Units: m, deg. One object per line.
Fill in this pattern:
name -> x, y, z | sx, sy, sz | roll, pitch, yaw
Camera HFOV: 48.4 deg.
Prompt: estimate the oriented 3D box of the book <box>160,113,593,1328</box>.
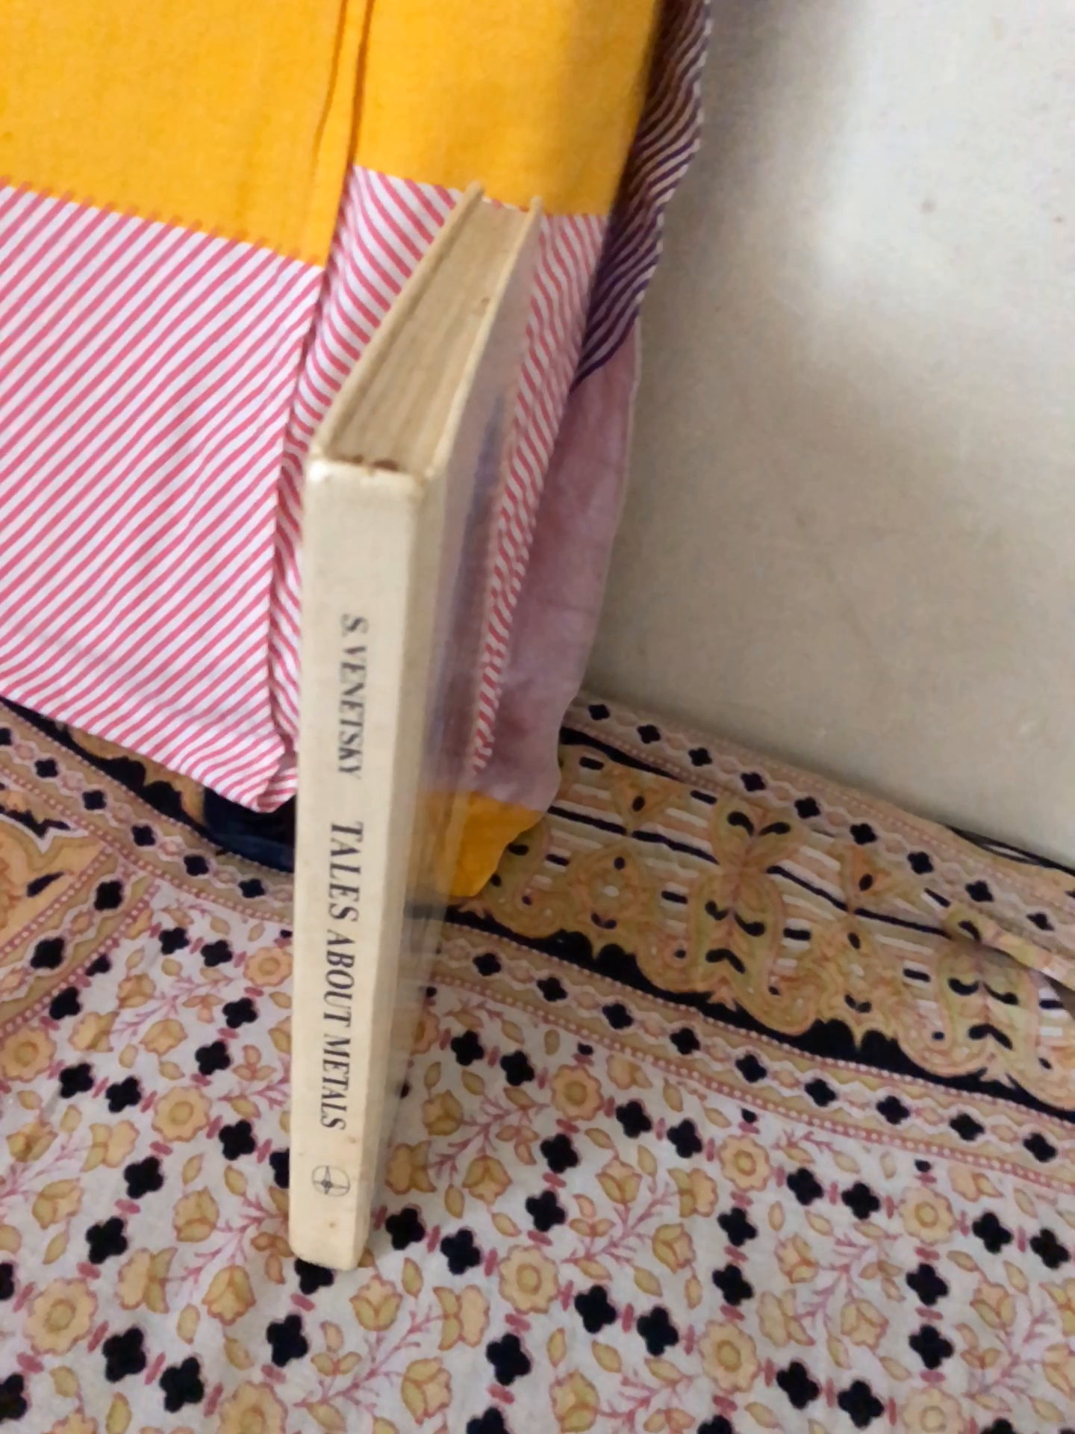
book -> -0.038, -0.006, 0.312 | 0.050, 0.249, 0.191 | 10, 32, 0
